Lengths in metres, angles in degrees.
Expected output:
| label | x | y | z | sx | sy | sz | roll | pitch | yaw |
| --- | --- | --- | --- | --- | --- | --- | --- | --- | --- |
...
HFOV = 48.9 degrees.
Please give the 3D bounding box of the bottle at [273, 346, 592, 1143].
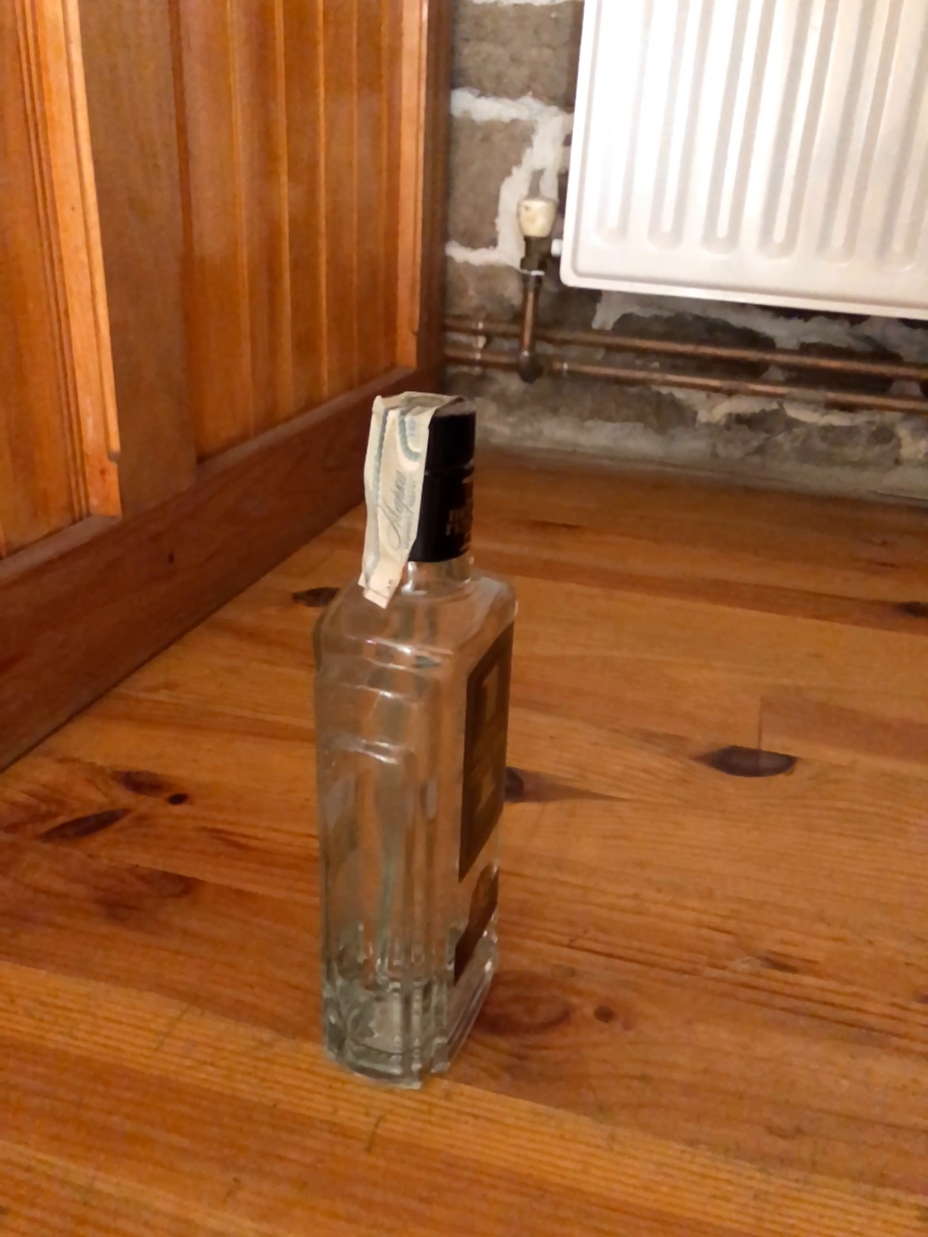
| label | x | y | z | sx | sy | sz | roll | pitch | yaw |
| --- | --- | --- | --- | --- | --- | --- | --- | --- | --- |
| bottle | -0.010 | 0.043 | 0.354 | 0.060 | 0.249 | 0.101 | 12 | 25 | 19 |
